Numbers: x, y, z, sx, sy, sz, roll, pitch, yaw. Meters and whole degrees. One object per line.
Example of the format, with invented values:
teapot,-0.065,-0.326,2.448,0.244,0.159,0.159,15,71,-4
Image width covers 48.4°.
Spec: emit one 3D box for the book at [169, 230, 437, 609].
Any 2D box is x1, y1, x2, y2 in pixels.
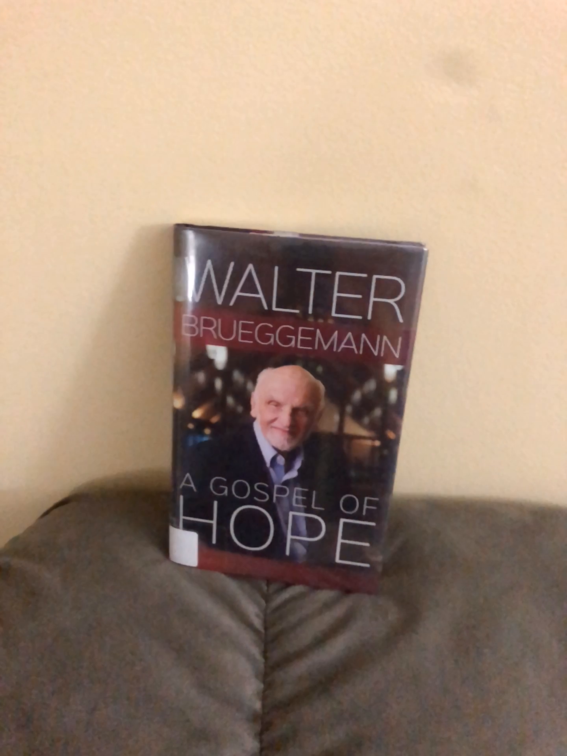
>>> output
book,0.004,0.026,0.370,0.140,0.210,0.027,7,18,10
